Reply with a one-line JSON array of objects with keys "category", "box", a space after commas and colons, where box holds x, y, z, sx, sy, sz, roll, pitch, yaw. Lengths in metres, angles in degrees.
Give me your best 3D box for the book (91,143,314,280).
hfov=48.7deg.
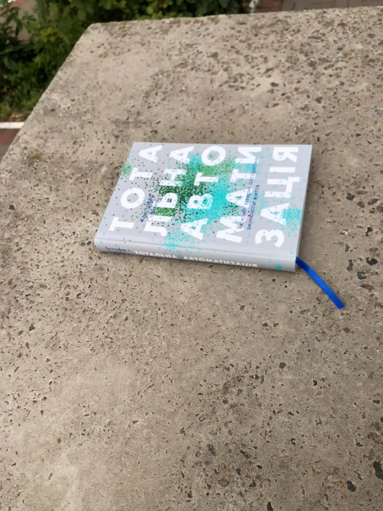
[{"category": "book", "box": [0.016, -0.059, 0.476, 0.220, 0.030, 0.151, 6, 61, 17]}]
